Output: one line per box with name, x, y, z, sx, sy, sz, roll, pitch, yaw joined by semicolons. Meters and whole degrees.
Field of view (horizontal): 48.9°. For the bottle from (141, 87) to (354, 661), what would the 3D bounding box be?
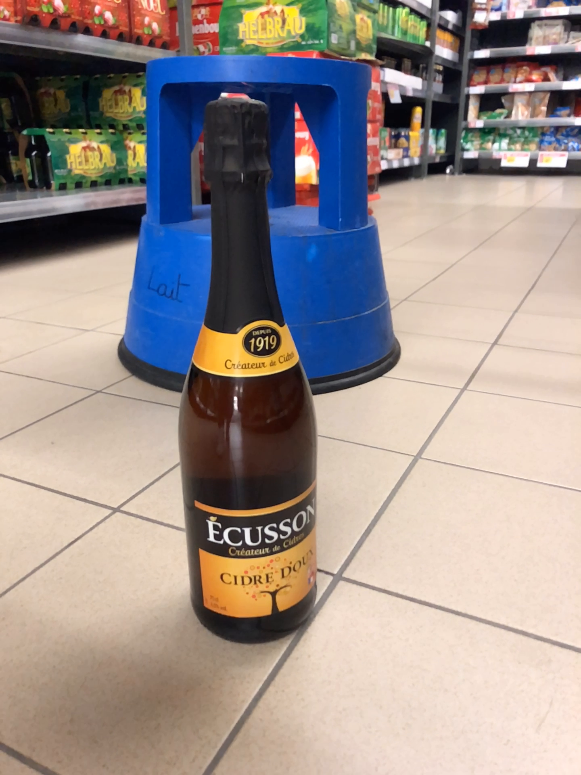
bottle;-0.023;-0.002;0.363;0.090;0.299;0.090;0;20;0
